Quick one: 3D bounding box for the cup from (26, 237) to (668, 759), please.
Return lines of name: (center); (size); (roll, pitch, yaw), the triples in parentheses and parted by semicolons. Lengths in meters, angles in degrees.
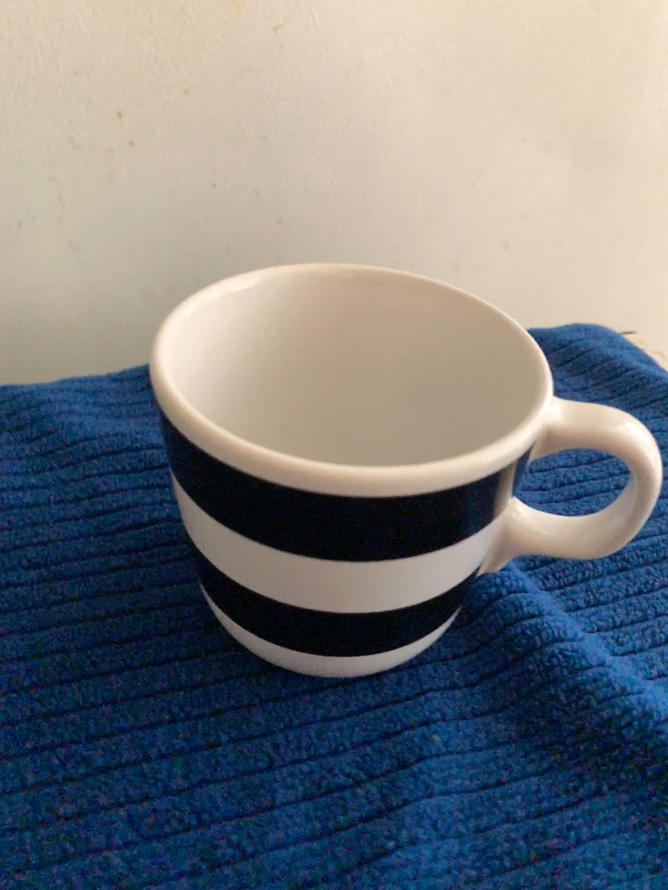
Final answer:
cup: (0.011, 0.003, 0.162); (0.113, 0.057, 0.085); (11, 40, 11)
